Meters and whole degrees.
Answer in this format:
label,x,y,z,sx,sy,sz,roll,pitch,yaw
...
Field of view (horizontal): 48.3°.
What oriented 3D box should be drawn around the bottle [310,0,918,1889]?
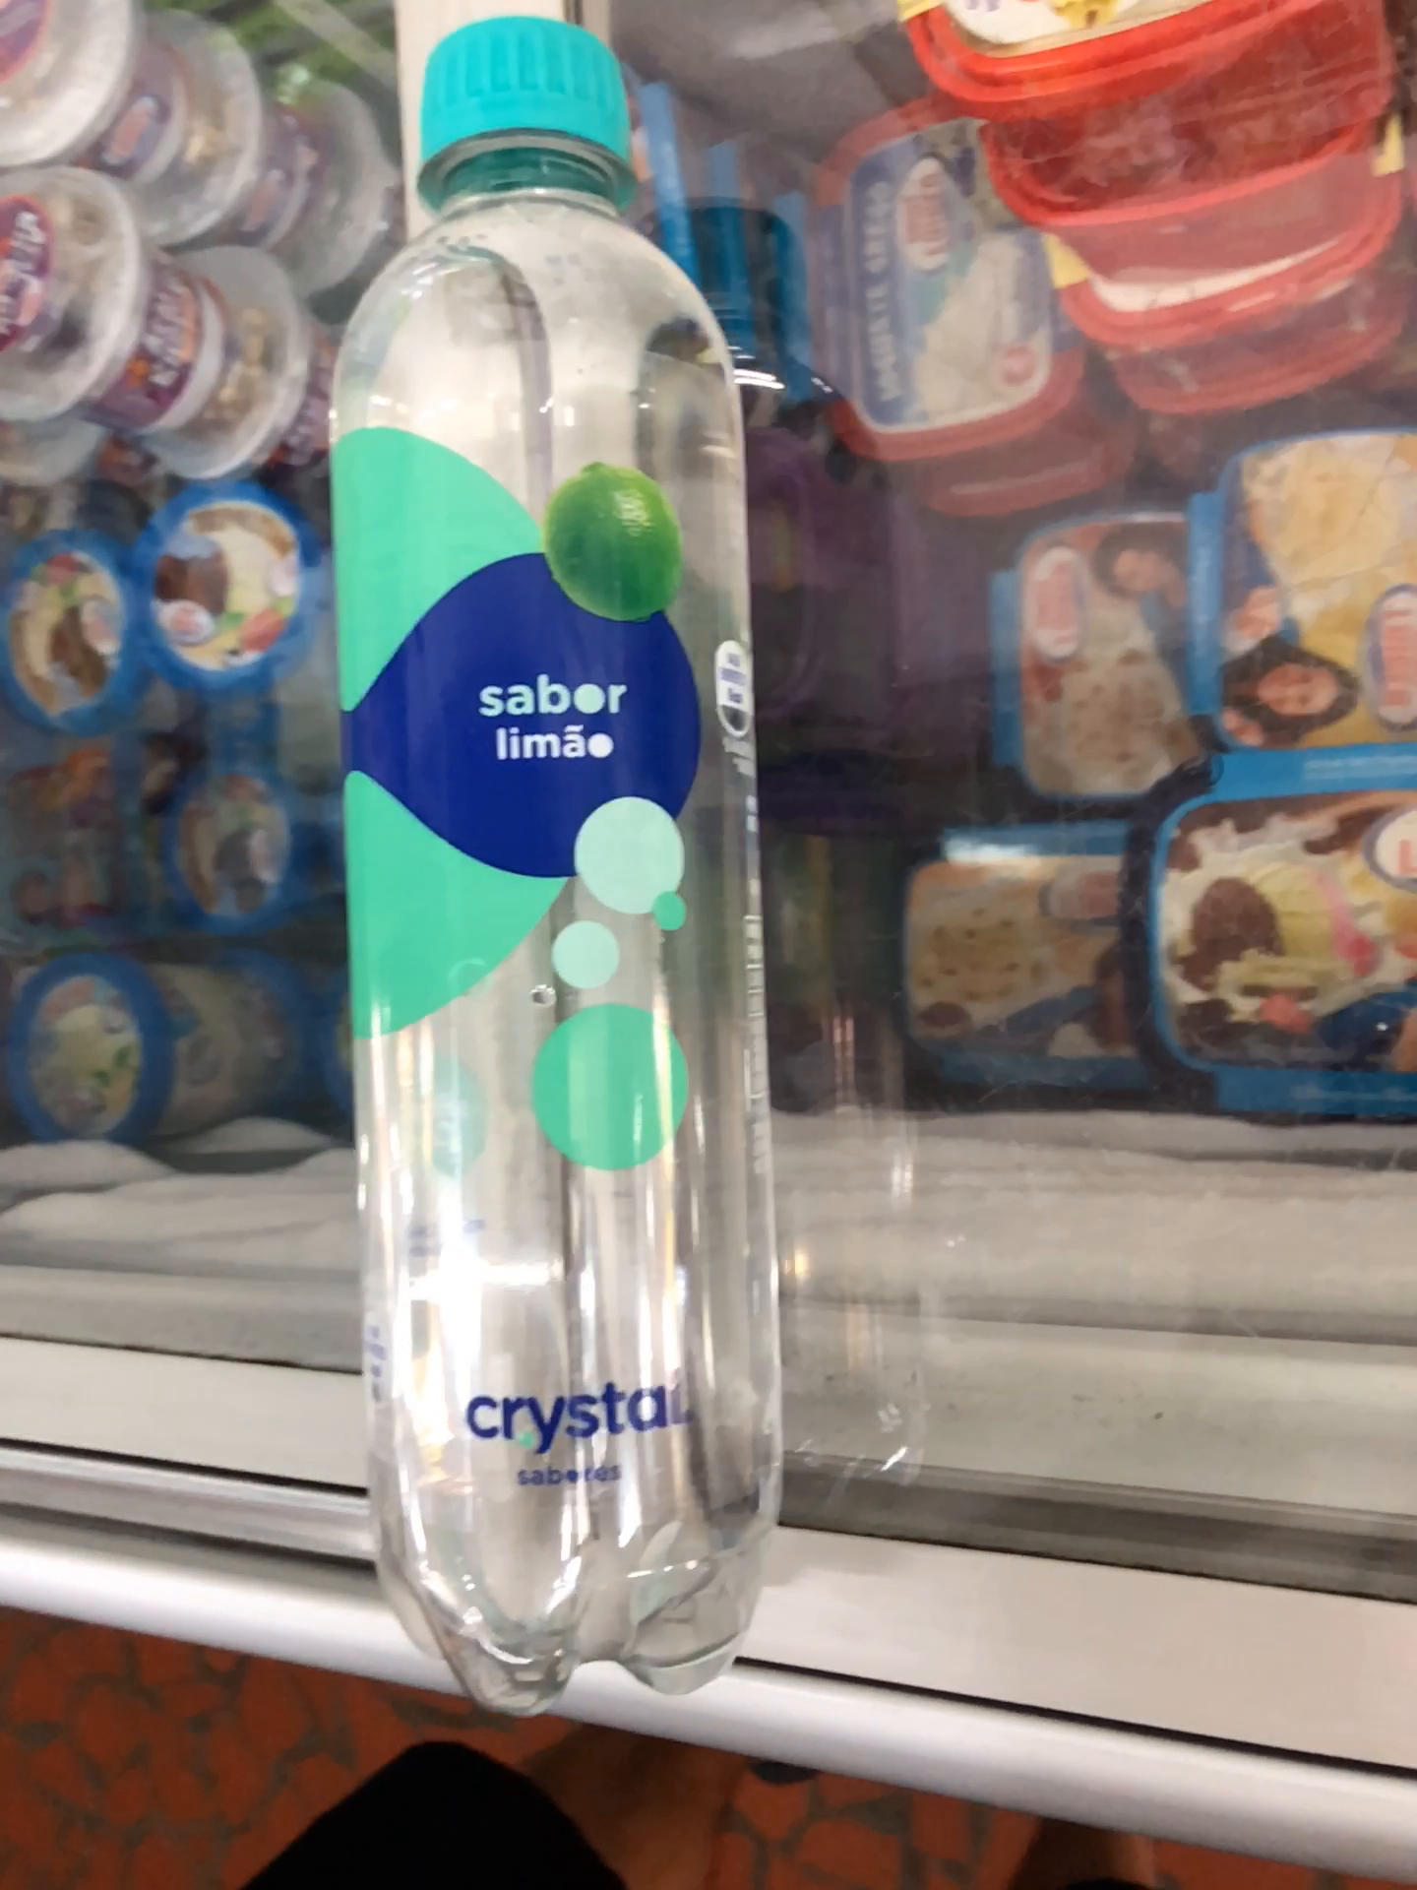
label,x,y,z,sx,sy,sz,roll,pitch,yaw
bottle,-0.013,0.004,0.228,0.070,0.070,0.240,-1,95,-6
